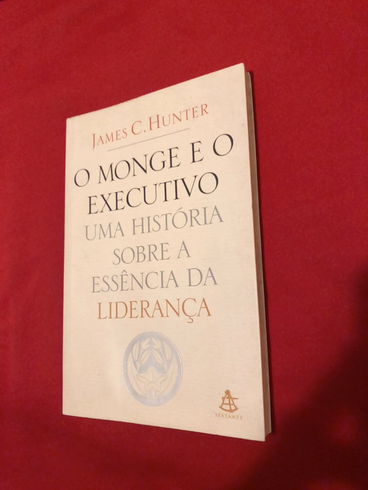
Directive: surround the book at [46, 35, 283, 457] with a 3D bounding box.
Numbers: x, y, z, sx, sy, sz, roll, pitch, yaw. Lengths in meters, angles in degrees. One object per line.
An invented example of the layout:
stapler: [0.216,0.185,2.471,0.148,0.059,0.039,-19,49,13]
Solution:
book: [-0.018,-0.001,0.254,0.140,0.030,0.220,-6,79,26]
